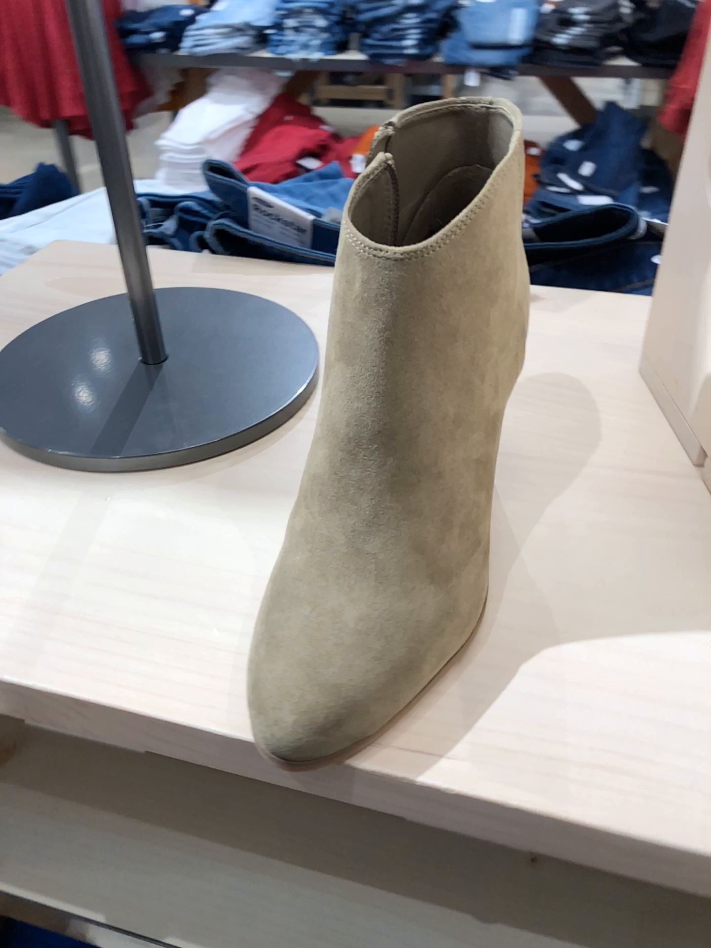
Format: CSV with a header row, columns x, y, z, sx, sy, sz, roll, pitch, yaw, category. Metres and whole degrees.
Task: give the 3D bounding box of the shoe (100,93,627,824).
x,y,z,sx,sy,sz,roll,pitch,yaw,category
0.027,-0.028,0.305,0.090,0.169,0.231,13,39,18,shoe
